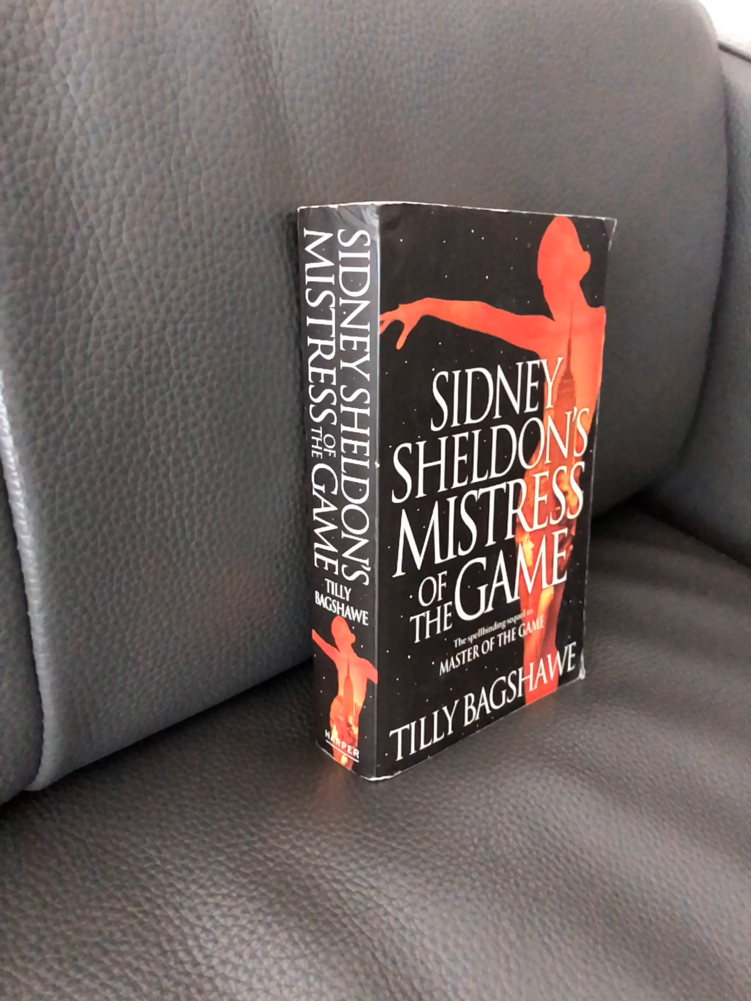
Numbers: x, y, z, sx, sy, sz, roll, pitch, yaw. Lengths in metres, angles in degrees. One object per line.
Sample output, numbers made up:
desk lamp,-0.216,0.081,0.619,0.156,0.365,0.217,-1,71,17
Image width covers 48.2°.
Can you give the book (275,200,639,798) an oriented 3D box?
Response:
book,0.030,-0.008,0.293,0.119,0.179,0.046,-15,23,-39
